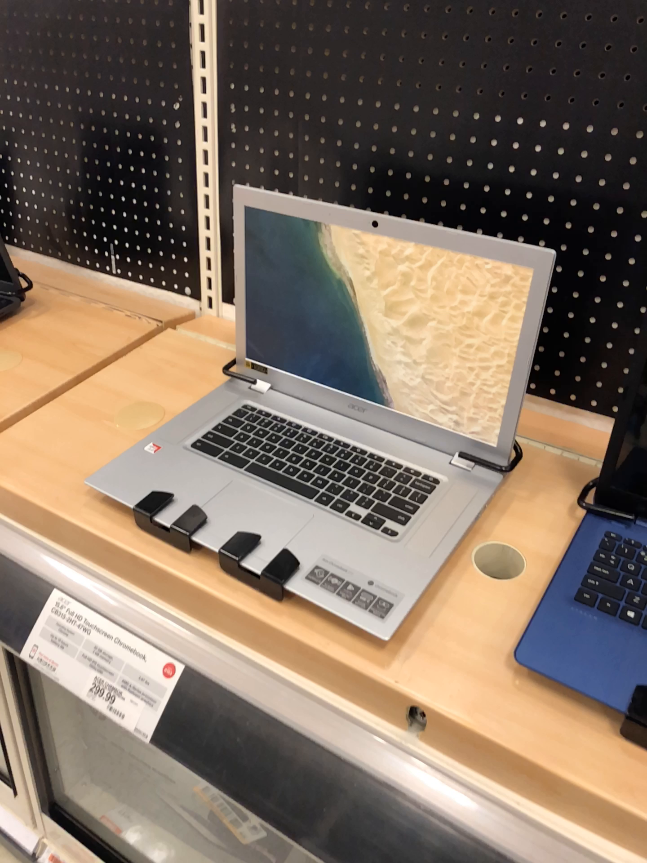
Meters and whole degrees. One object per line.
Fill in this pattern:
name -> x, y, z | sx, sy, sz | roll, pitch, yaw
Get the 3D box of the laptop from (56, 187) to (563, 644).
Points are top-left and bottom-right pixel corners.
laptop -> -0.016, -0.057, 0.716 | 0.372, 0.246, 0.287 | 20, 37, 28
